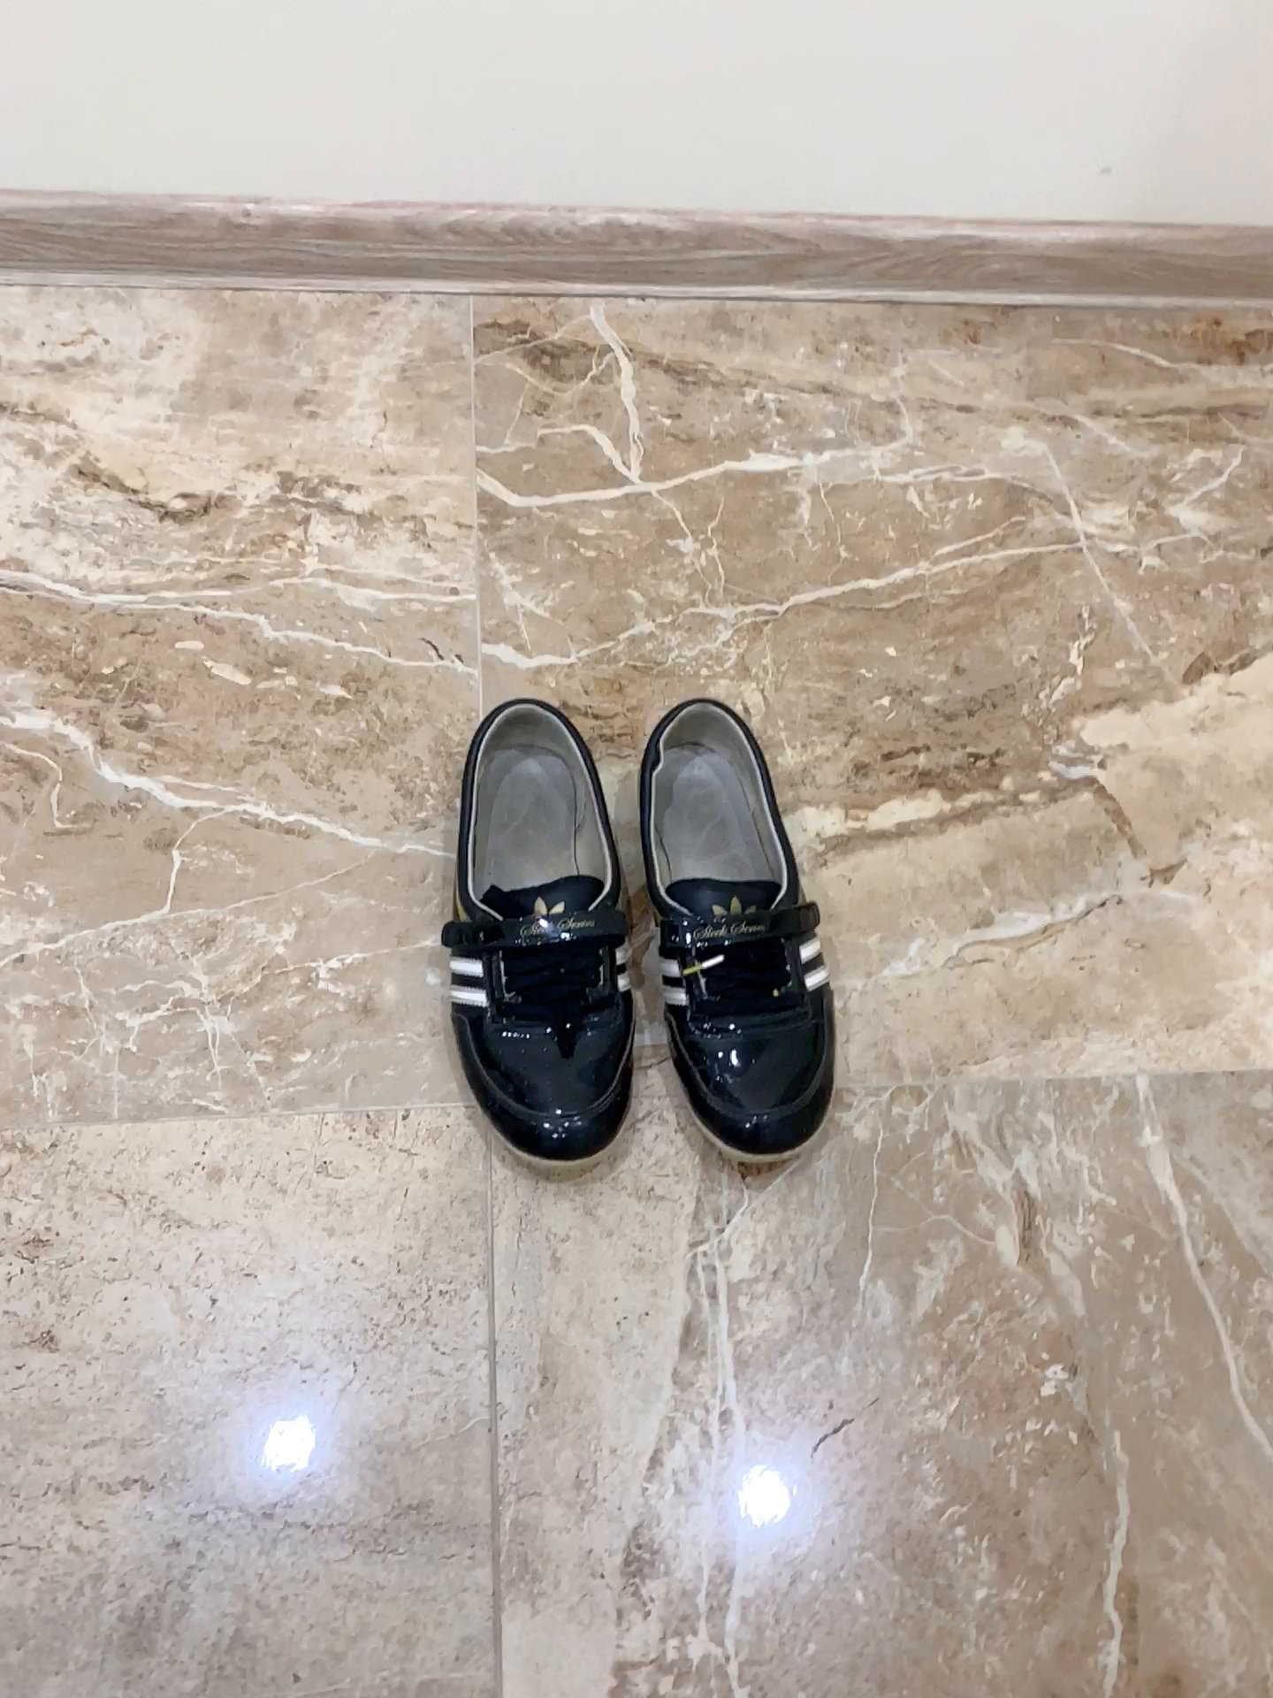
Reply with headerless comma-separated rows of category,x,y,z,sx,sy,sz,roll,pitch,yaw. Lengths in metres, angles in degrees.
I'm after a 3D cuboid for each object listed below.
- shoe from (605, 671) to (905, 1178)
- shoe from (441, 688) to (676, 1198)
shoe,0.050,0.030,0.645,0.095,0.060,0.241,-5,61,-9
shoe,-0.044,0.038,0.633,0.095,0.060,0.241,-2,61,-7
